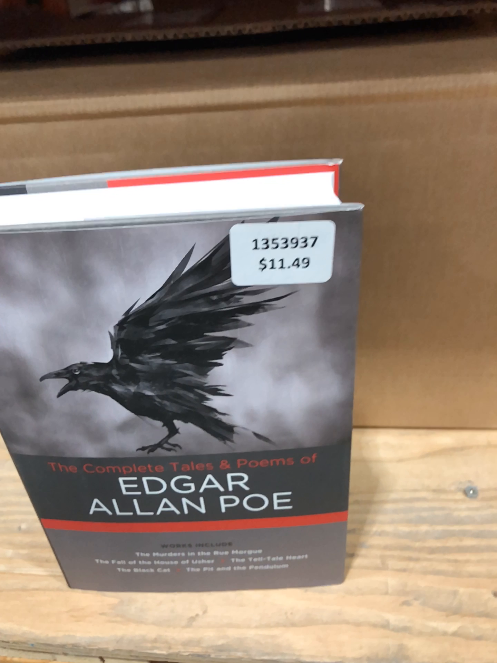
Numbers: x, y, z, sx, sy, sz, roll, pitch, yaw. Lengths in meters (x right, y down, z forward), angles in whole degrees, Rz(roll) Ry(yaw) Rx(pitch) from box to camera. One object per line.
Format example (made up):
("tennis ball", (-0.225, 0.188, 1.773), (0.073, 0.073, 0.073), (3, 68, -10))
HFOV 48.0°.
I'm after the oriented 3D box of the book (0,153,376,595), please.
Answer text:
("book", (-0.033, 0.043, 0.286), (0.171, 0.240, 0.054), (-3, 36, 3))
